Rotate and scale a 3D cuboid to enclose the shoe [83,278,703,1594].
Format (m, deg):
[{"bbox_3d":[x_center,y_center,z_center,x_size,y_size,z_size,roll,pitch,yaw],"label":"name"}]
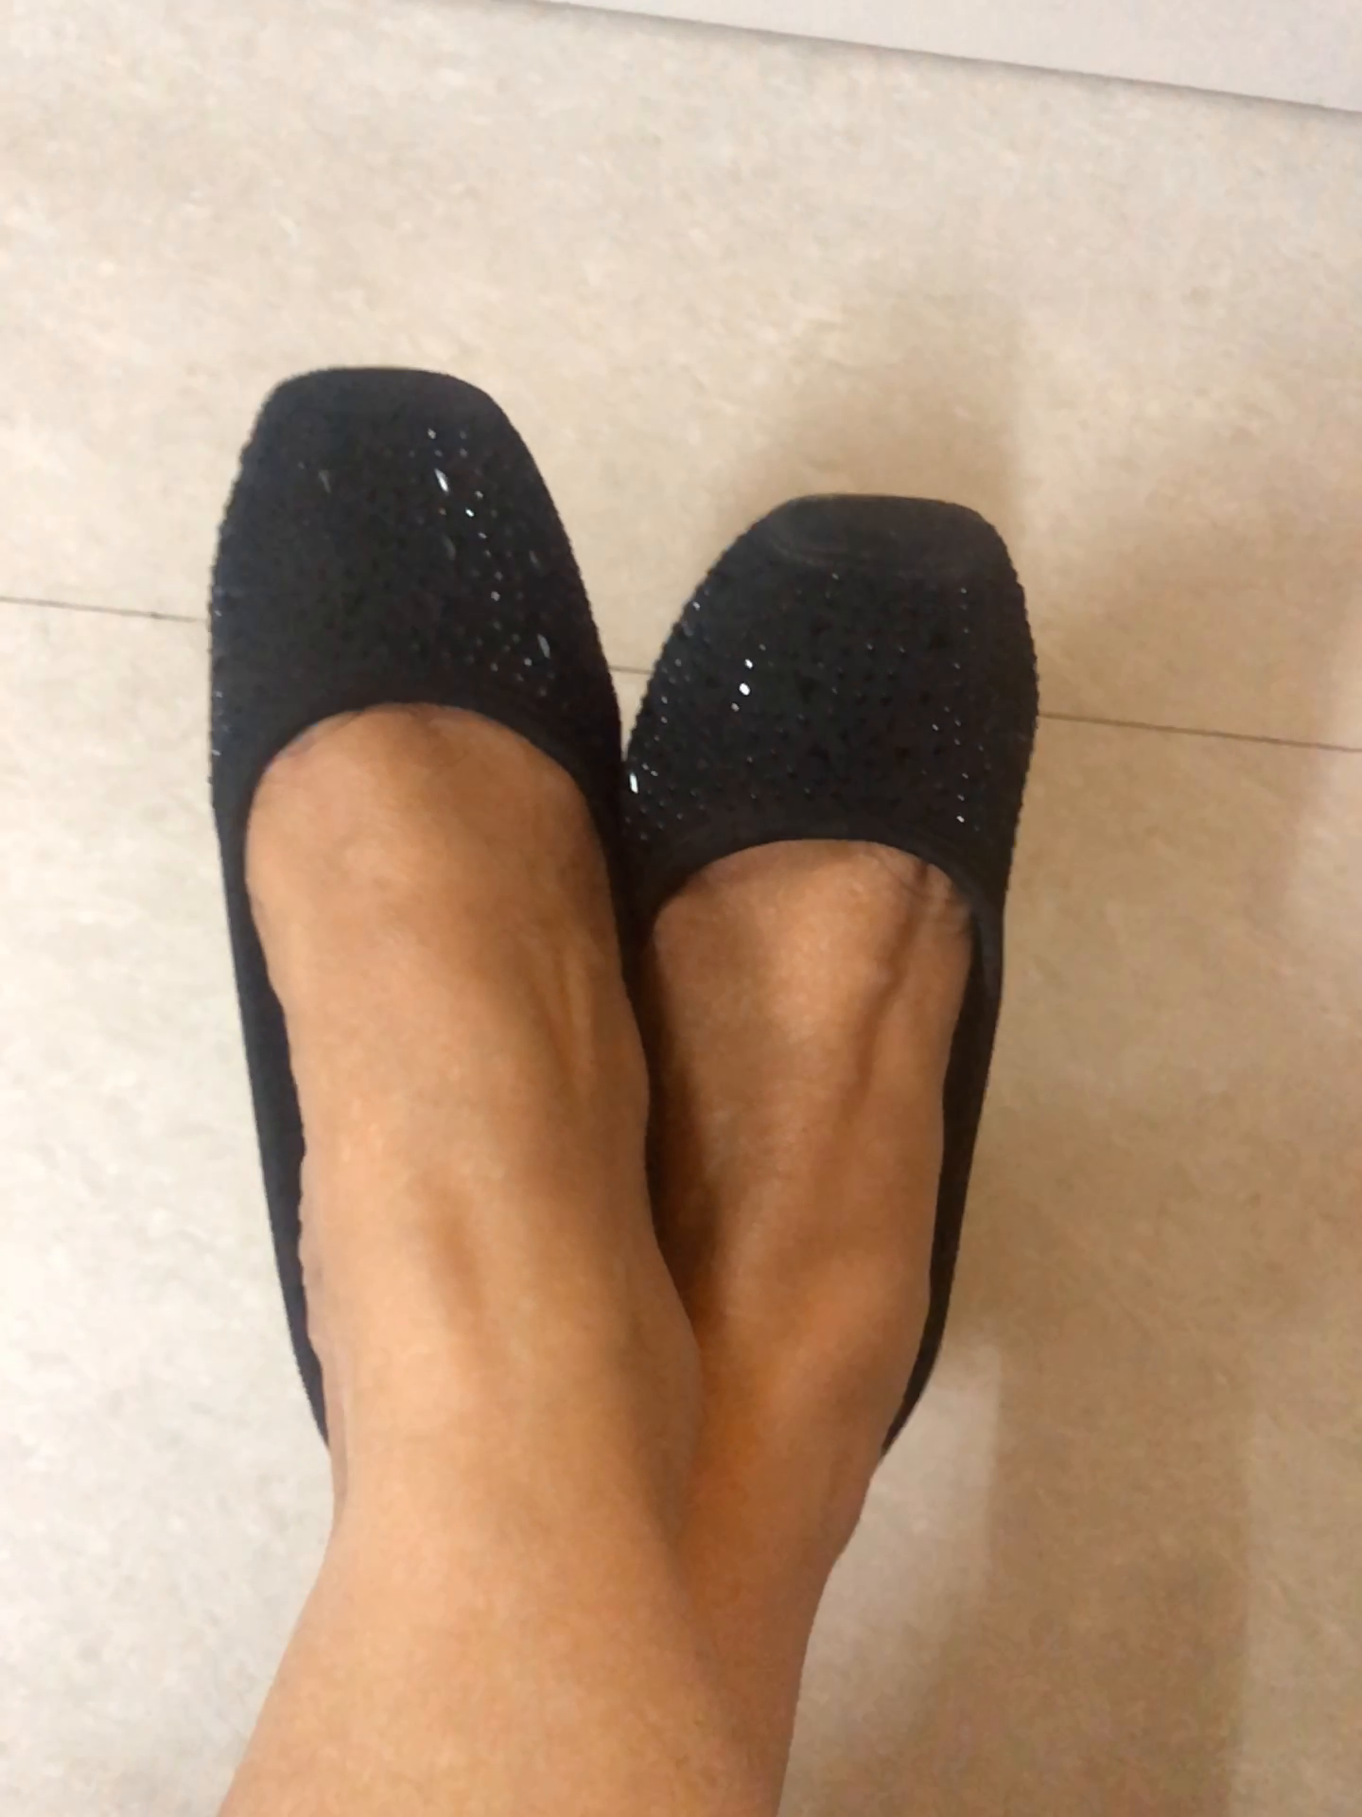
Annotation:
[{"bbox_3d":[-0.055,0.009,0.337,0.100,0.070,0.270,-5,108,-11],"label":"shoe"}]

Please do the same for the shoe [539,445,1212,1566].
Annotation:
[{"bbox_3d":[0.029,0.030,0.340,0.100,0.070,0.240,5,116,-2],"label":"shoe"}]
